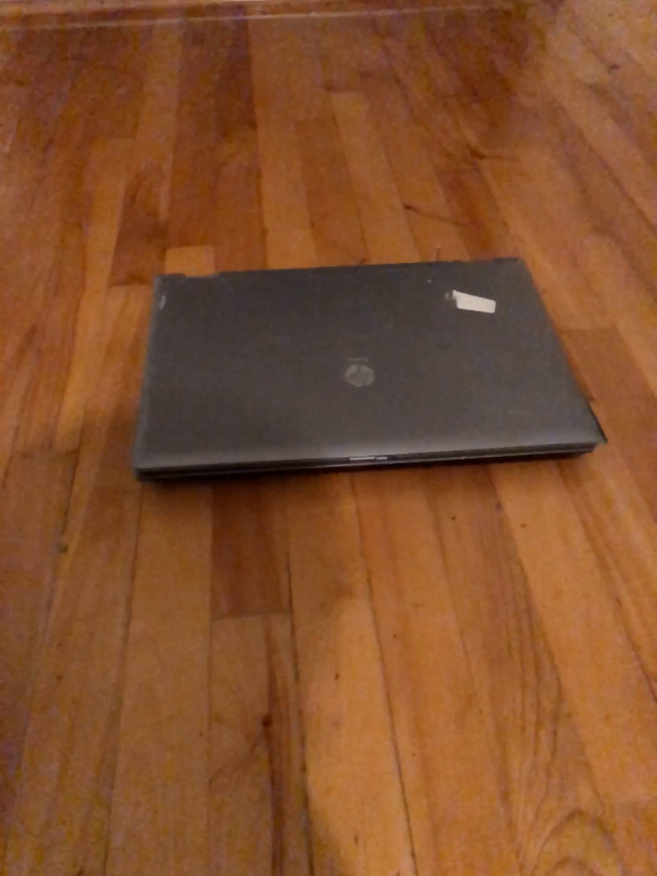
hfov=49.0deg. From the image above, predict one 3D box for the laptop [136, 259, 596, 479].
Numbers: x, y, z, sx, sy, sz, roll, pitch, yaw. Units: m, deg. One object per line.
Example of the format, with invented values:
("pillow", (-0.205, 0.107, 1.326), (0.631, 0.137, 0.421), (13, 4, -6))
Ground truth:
("laptop", (0.023, -0.075, 0.645), (0.362, 0.010, 0.242), (-4, 50, -3))
